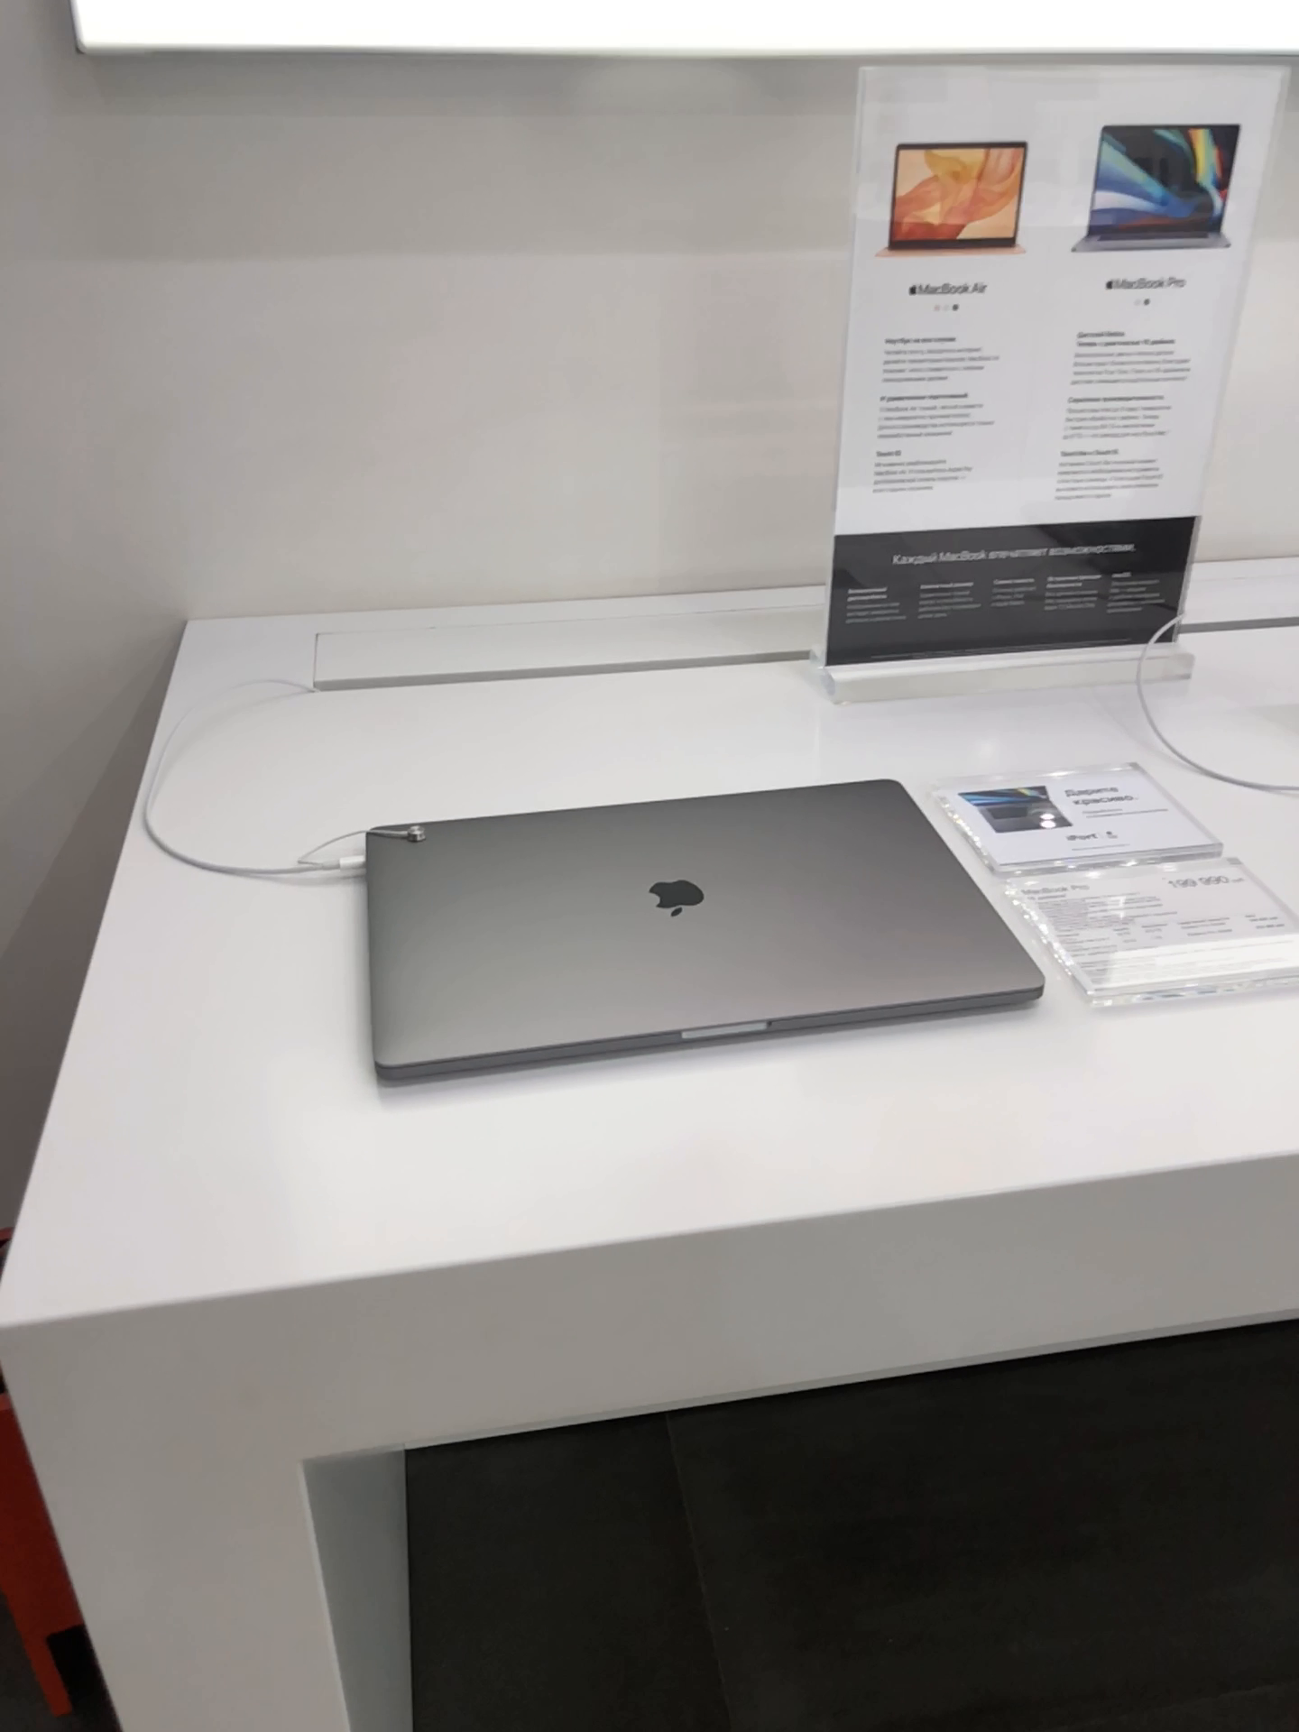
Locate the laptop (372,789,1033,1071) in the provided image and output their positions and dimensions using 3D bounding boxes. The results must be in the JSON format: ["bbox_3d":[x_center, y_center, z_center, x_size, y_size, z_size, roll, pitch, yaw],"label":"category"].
[{"bbox_3d":[0.015,0.025,0.832,0.344,0.003,0.232,-6,31,-9],"label":"laptop"}]
